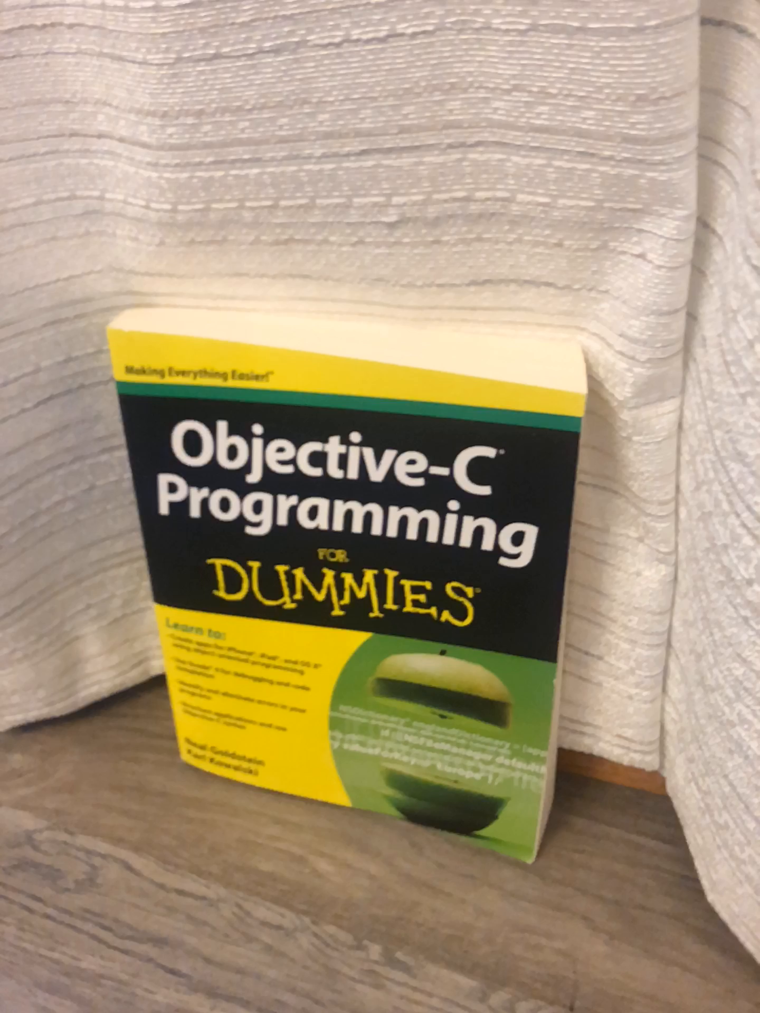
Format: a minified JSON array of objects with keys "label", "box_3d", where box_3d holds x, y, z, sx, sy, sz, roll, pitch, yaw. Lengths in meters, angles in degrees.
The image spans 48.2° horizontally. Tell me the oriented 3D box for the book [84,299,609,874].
[{"label":"book","box_3d":[-0.012,0.038,0.352,0.183,0.229,0.033,8,31,18]}]
